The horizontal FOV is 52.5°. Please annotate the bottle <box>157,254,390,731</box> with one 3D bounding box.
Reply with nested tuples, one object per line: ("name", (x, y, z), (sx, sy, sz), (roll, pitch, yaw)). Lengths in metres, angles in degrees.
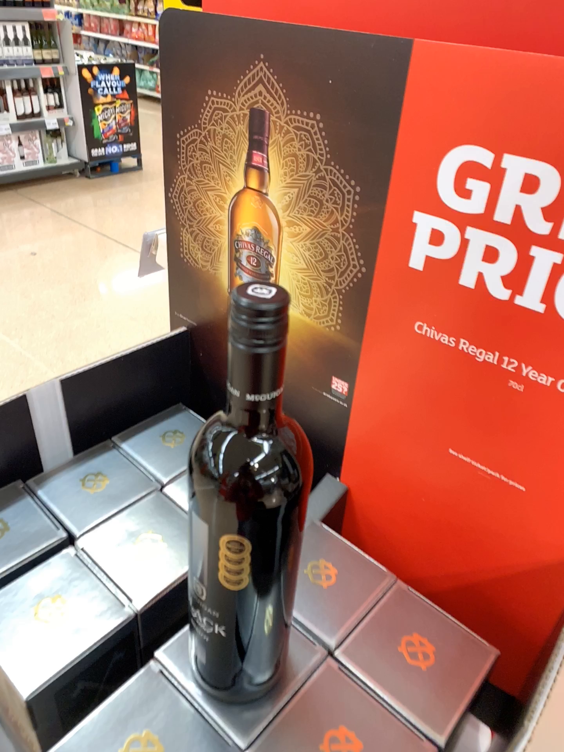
("bottle", (-0.015, 0.083, 0.337), (0.080, 0.287, 0.070), (-17, 39, -29))
